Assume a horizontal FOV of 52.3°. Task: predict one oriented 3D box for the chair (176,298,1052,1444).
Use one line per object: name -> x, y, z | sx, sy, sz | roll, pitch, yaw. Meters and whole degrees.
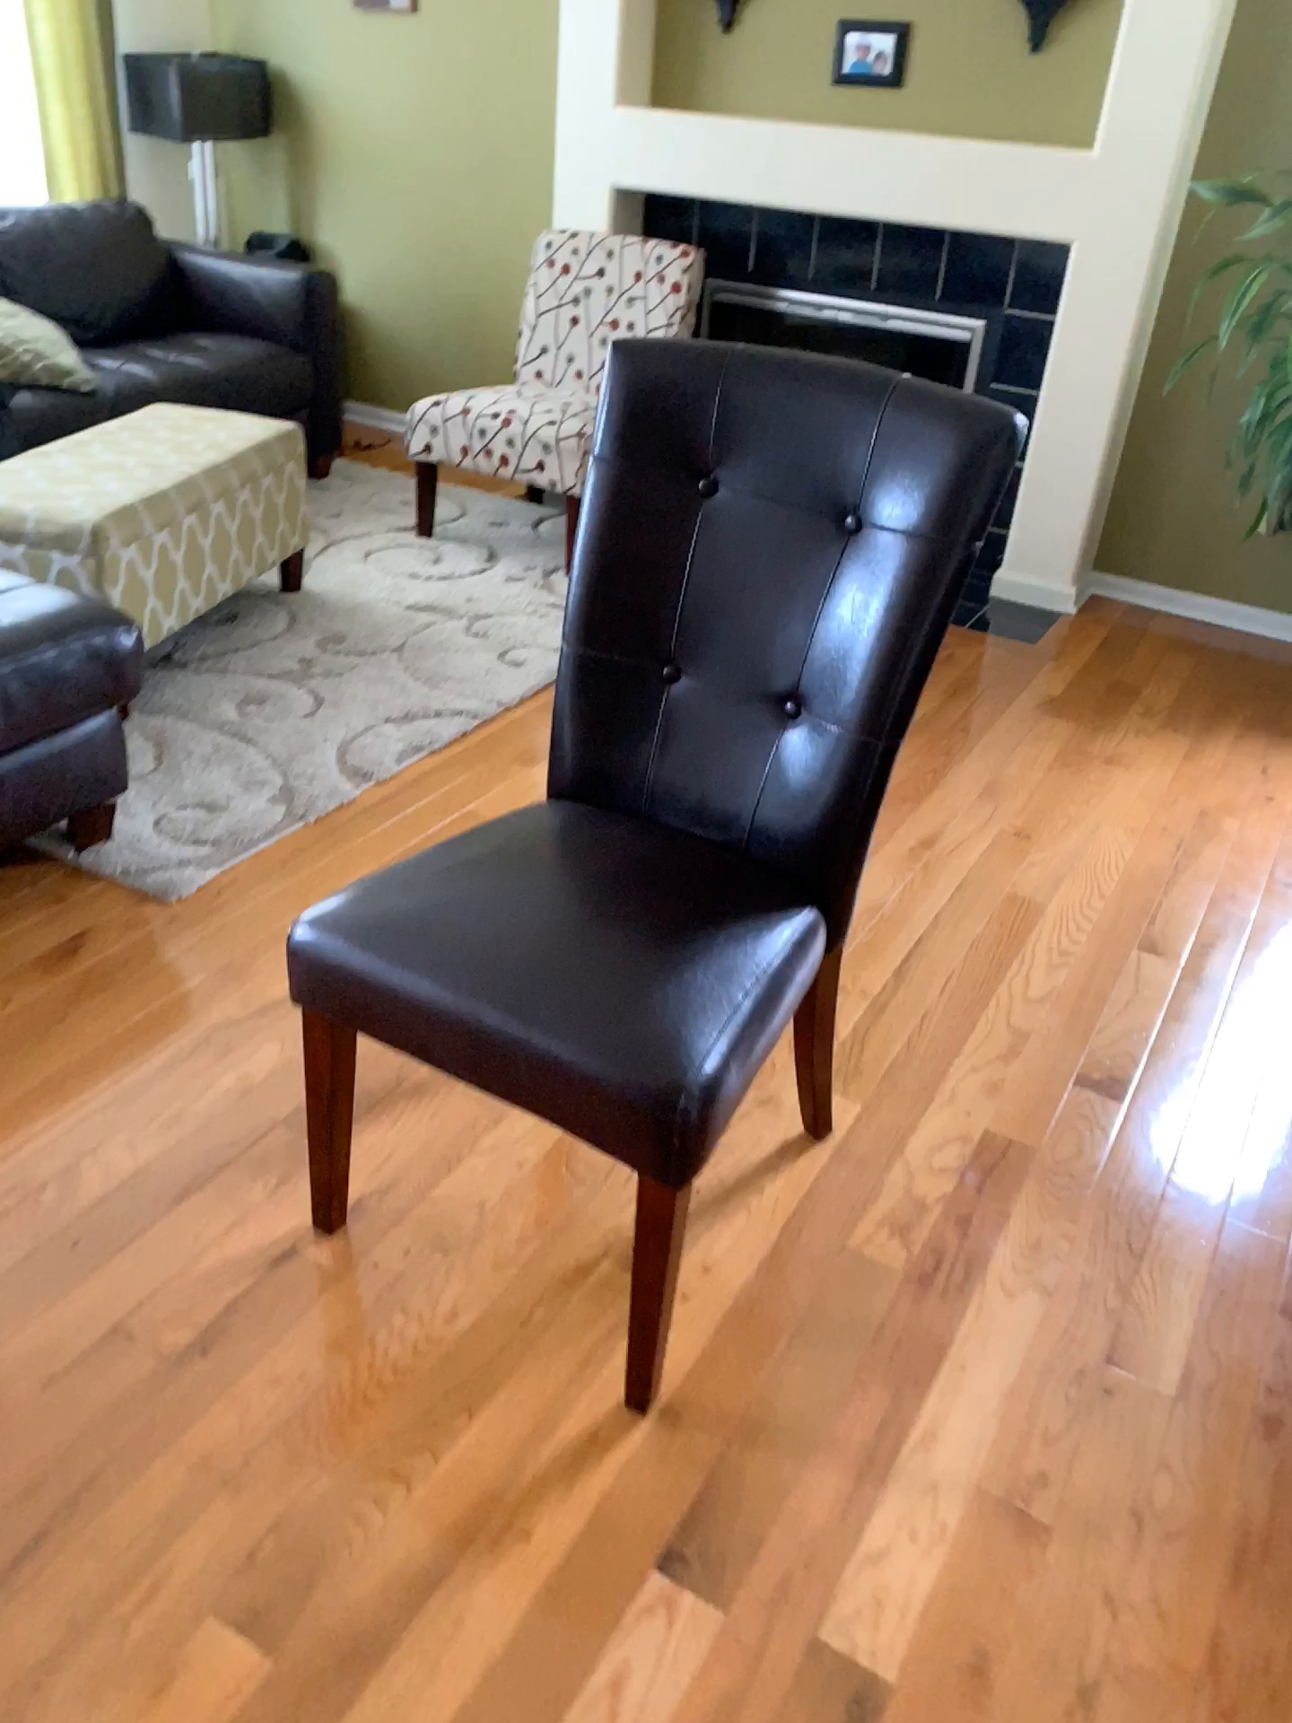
chair -> -0.011, -0.048, 1.507 | 0.538, 0.977, 0.726 | 20, 34, 24
